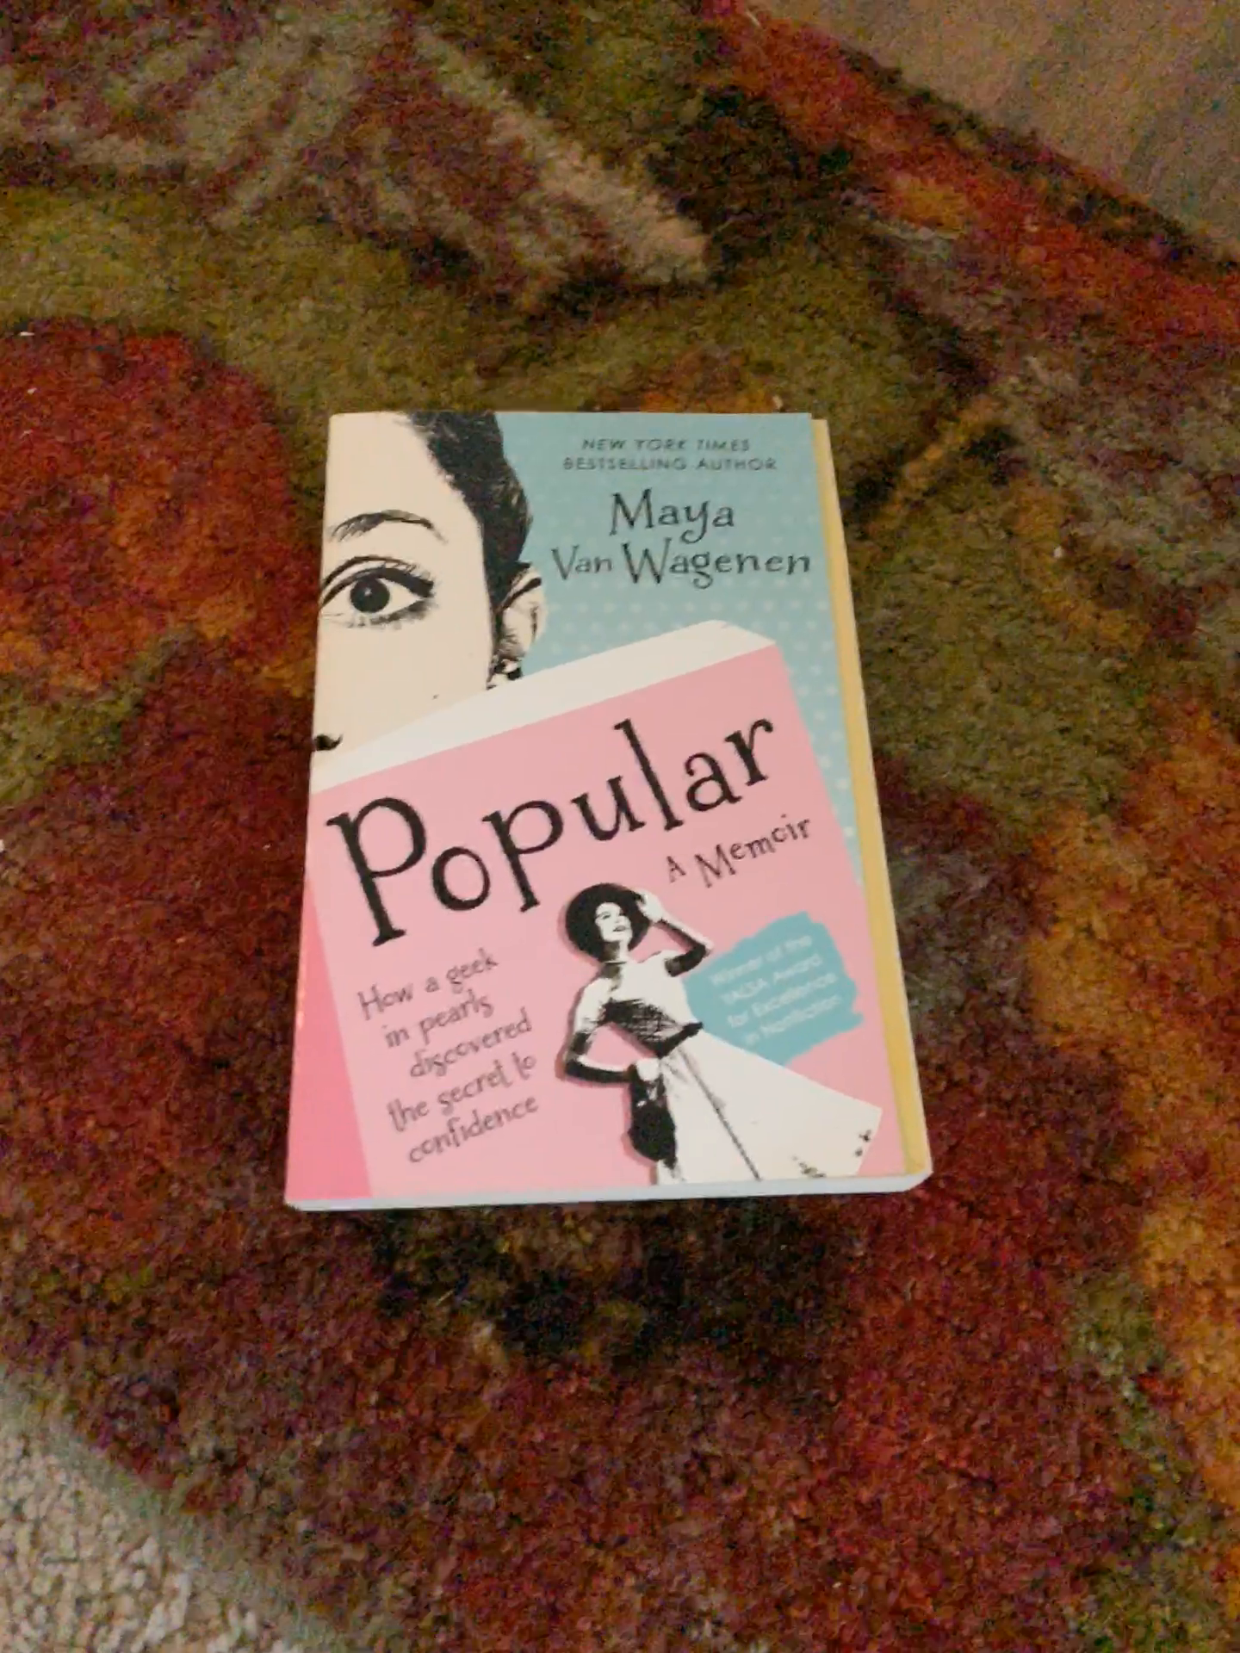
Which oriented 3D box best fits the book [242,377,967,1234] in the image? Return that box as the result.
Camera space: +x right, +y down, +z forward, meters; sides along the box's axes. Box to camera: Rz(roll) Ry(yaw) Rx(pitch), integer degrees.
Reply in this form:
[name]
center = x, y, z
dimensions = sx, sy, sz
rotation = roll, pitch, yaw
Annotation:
[book]
center = -0.008, -0.017, 0.321
dimensions = 0.150, 0.030, 0.220
rotation = -1, 66, -4
